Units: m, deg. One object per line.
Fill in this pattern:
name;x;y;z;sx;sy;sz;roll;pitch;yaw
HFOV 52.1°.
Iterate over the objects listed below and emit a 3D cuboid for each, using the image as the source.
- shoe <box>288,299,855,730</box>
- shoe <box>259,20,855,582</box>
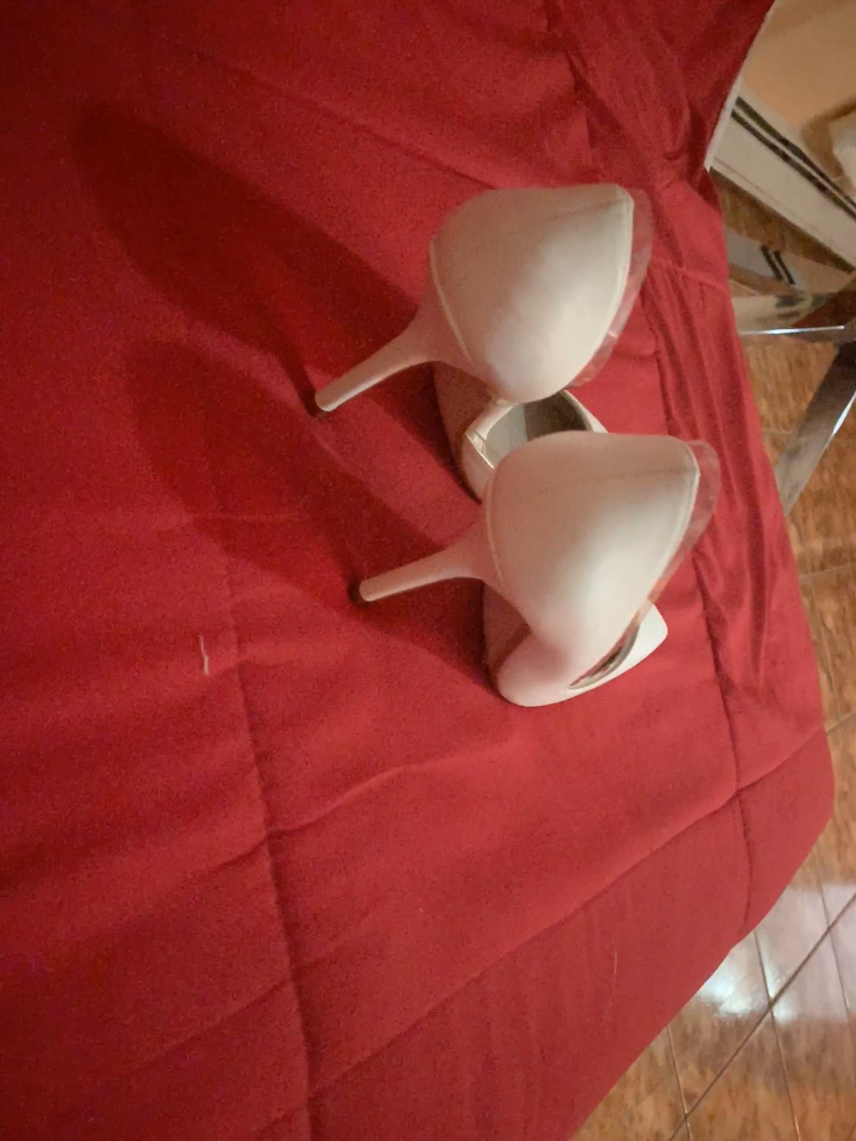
shoe;0.085;0.007;0.347;0.244;0.136;0.097;12;70;-47
shoe;0.072;-0.072;0.359;0.242;0.139;0.097;12;70;-47
